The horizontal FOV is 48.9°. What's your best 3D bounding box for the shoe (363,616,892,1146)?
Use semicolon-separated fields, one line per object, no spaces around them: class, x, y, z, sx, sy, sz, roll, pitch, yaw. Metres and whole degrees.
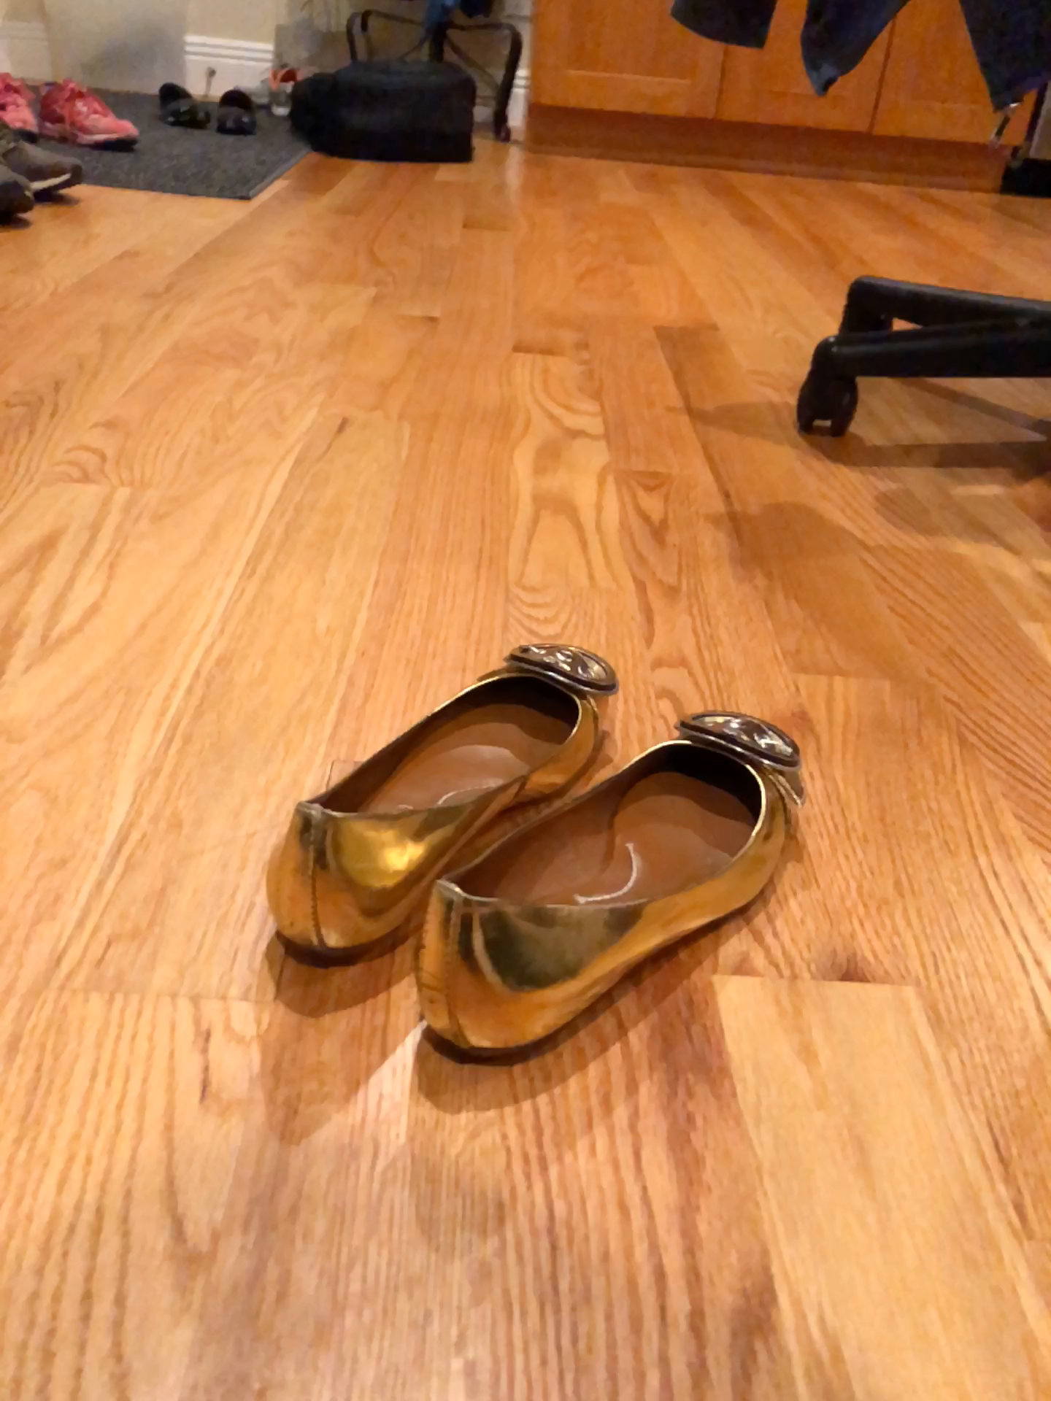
shoe;0.052;0.049;0.449;0.077;0.066;0.250;24;36;28

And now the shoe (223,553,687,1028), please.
shoe;-0.015;0.019;0.489;0.083;0.066;0.245;18;33;19
